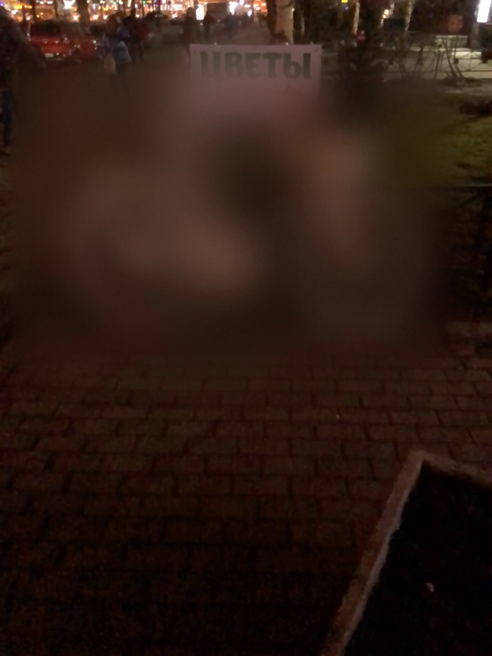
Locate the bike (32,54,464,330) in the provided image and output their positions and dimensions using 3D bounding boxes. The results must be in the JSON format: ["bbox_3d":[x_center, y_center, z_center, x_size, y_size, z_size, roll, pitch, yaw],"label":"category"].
[{"bbox_3d":[-0.002,-0.695,2.805,1.827,1.119,0.609,-3,29,3],"label":"bike"}]
